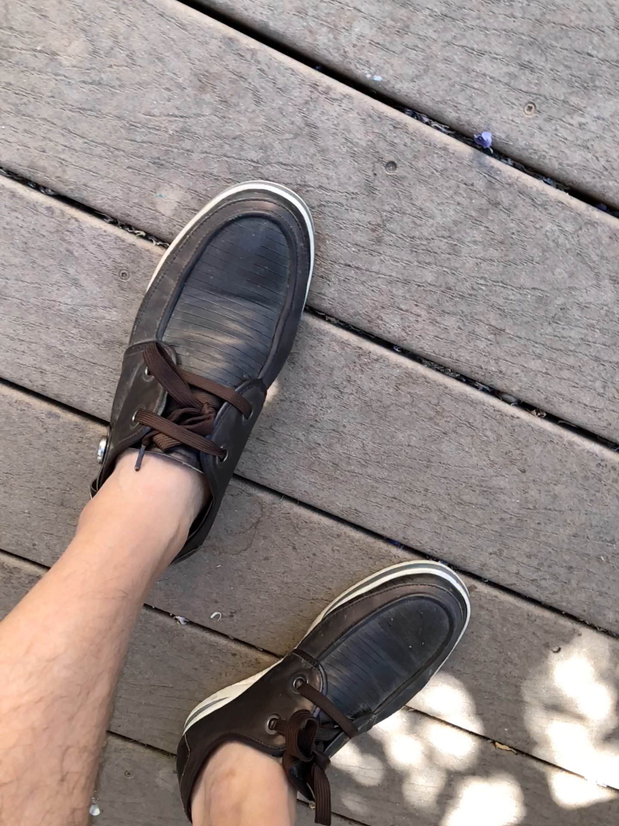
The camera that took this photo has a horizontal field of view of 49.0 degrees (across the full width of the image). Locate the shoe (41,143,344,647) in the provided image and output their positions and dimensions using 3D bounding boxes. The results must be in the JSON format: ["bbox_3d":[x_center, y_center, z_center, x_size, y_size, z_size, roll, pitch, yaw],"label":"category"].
[{"bbox_3d":[-0.075,-0.007,0.432,0.104,0.096,0.283,17,109,-5],"label":"shoe"}]

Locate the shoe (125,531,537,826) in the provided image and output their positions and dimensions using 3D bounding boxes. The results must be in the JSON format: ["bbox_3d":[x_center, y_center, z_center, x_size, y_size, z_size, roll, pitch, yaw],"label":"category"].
[{"bbox_3d":[0.010,0.221,0.508,0.277,0.089,0.104,-36,105,13],"label":"shoe"}]
